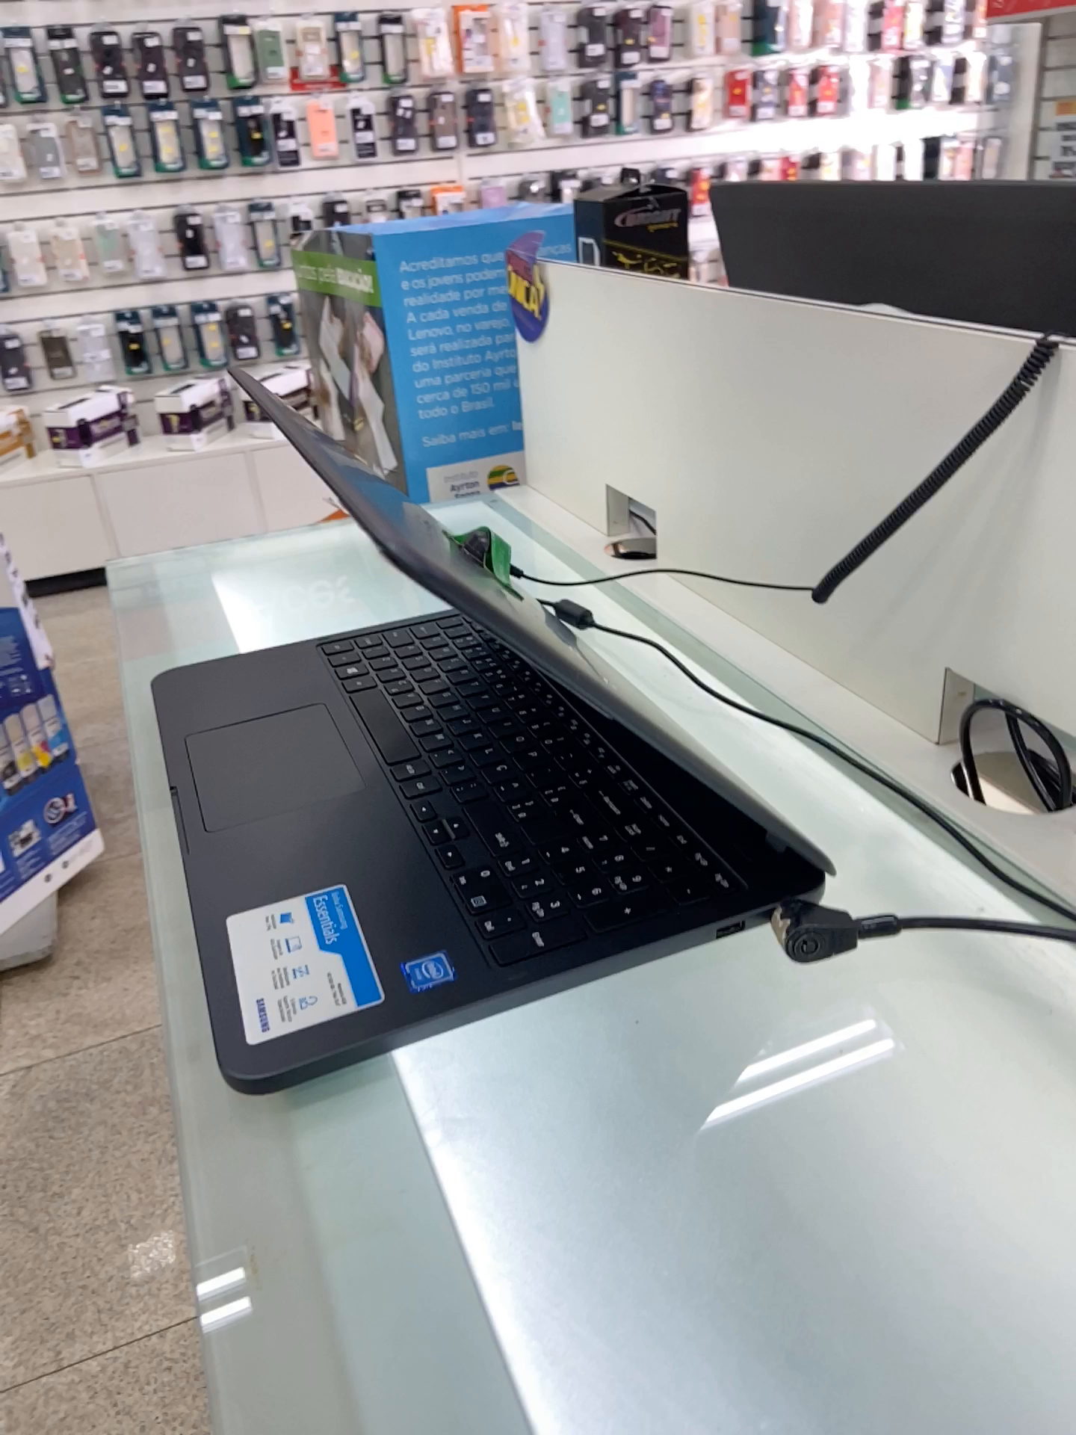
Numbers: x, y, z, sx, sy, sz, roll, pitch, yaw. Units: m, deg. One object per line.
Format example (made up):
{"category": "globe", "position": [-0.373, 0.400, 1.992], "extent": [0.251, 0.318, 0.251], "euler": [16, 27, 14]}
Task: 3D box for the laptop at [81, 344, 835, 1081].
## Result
{"category": "laptop", "position": [-0.070, -0.054, 0.544], "extent": [0.245, 0.173, 0.374], "euler": [-14, 29, -17]}
